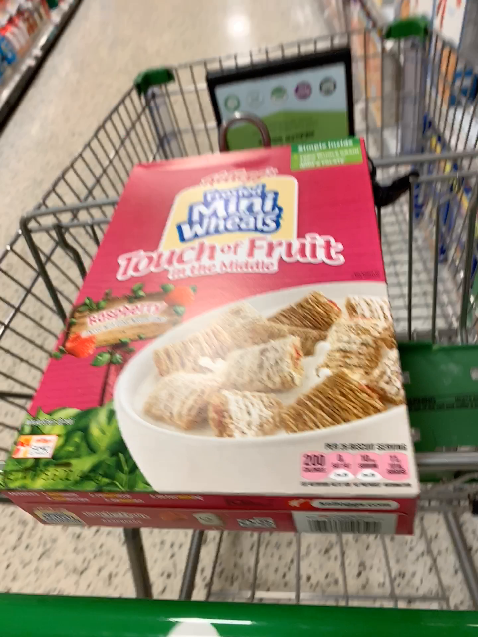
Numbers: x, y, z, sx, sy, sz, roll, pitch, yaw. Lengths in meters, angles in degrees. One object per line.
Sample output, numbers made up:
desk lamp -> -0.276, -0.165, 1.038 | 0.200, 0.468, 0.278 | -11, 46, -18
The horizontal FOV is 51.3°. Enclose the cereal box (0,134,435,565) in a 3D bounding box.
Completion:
cereal box -> -0.009, -0.010, 0.319 | 0.200, 0.050, 0.292 | -3, 48, 11
